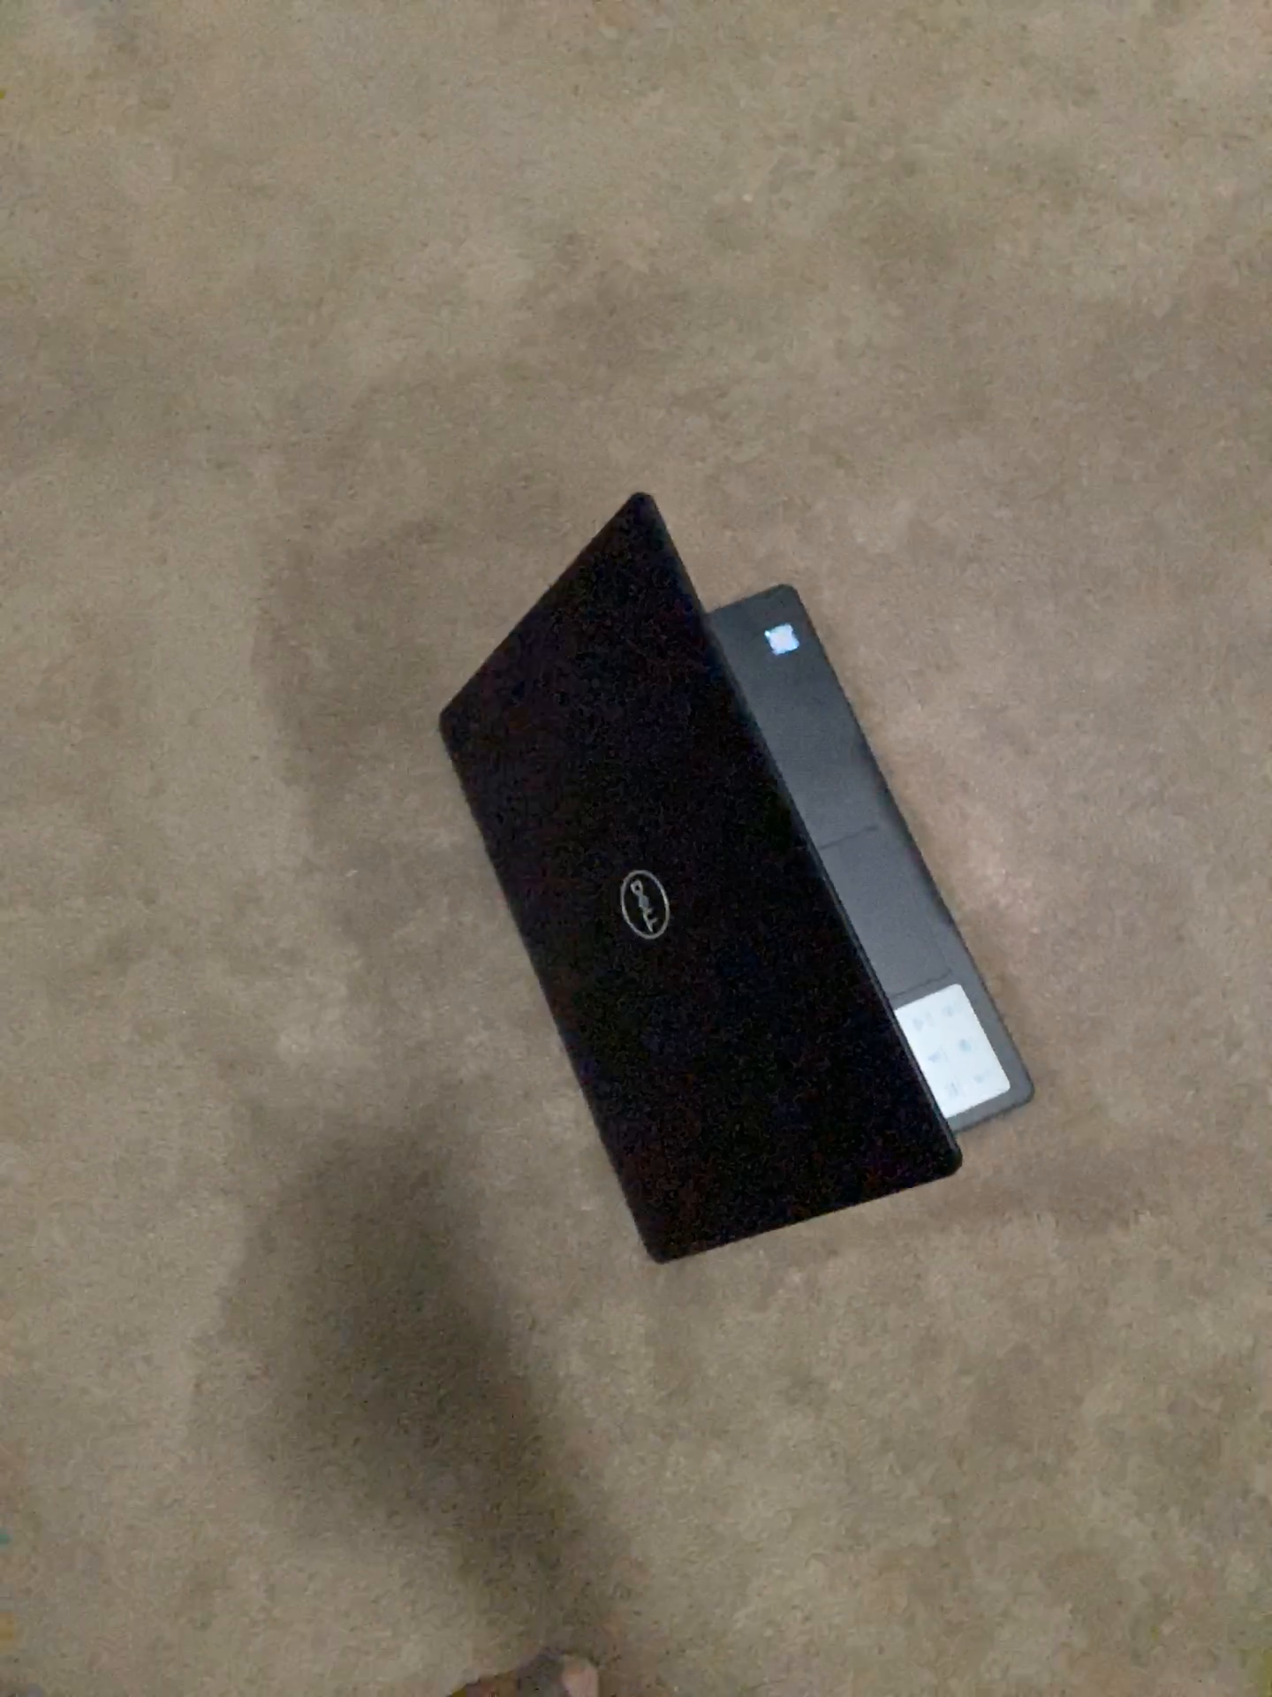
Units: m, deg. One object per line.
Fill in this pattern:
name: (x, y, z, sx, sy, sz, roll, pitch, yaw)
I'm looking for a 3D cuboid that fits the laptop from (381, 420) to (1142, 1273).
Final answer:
laptop: (0.055, 0.002, 0.745, 0.251, 0.202, 0.376, -21, 77, -7)
